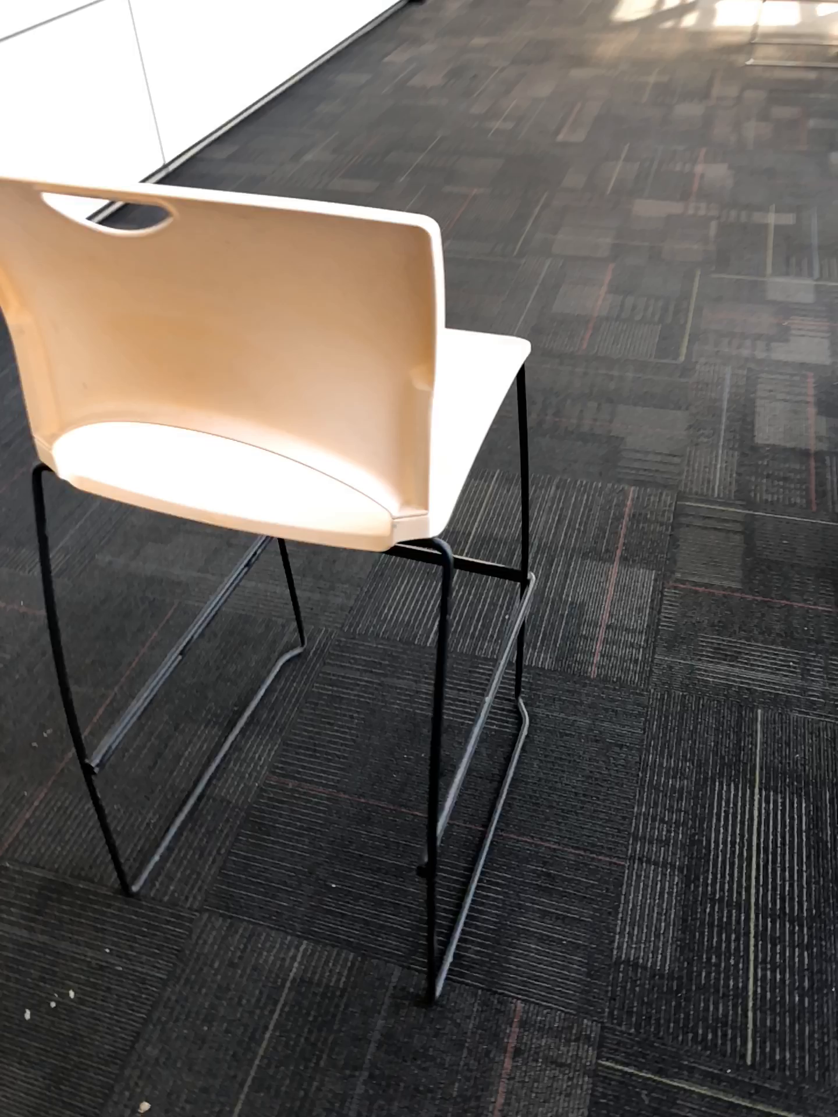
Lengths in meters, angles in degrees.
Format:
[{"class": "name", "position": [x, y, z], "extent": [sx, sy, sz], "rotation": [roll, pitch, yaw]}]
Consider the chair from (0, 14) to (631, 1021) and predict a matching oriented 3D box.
[{"class": "chair", "position": [-0.130, -0.066, 1.207], "extent": [0.581, 0.995, 0.723], "rotation": [11, 42, 17]}]
